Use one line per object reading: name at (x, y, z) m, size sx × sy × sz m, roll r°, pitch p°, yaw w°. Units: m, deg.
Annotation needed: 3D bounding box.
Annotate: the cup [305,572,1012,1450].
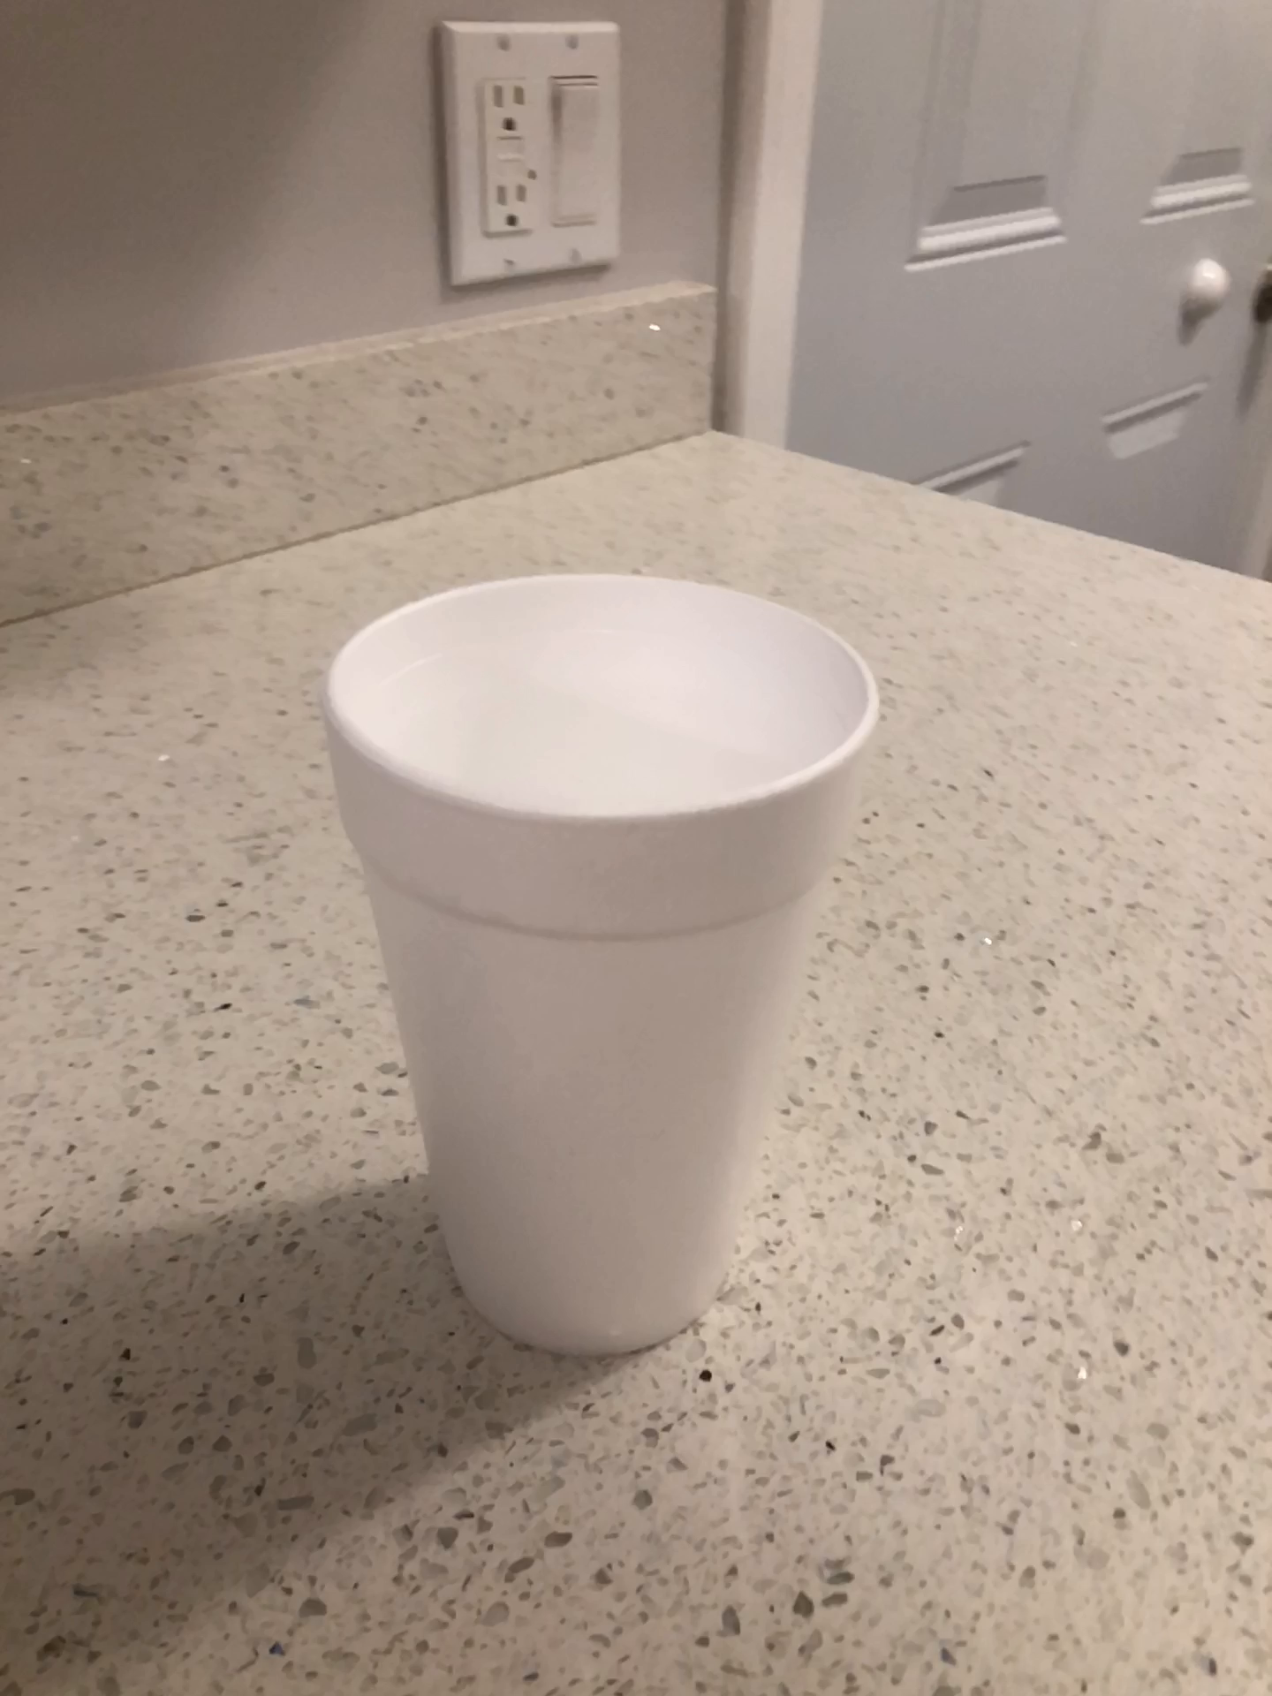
cup at (0.004, 0.026, 0.247) m, size 0.090 × 0.118 × 0.088 m, roll 1°, pitch 32°, yaw -1°
